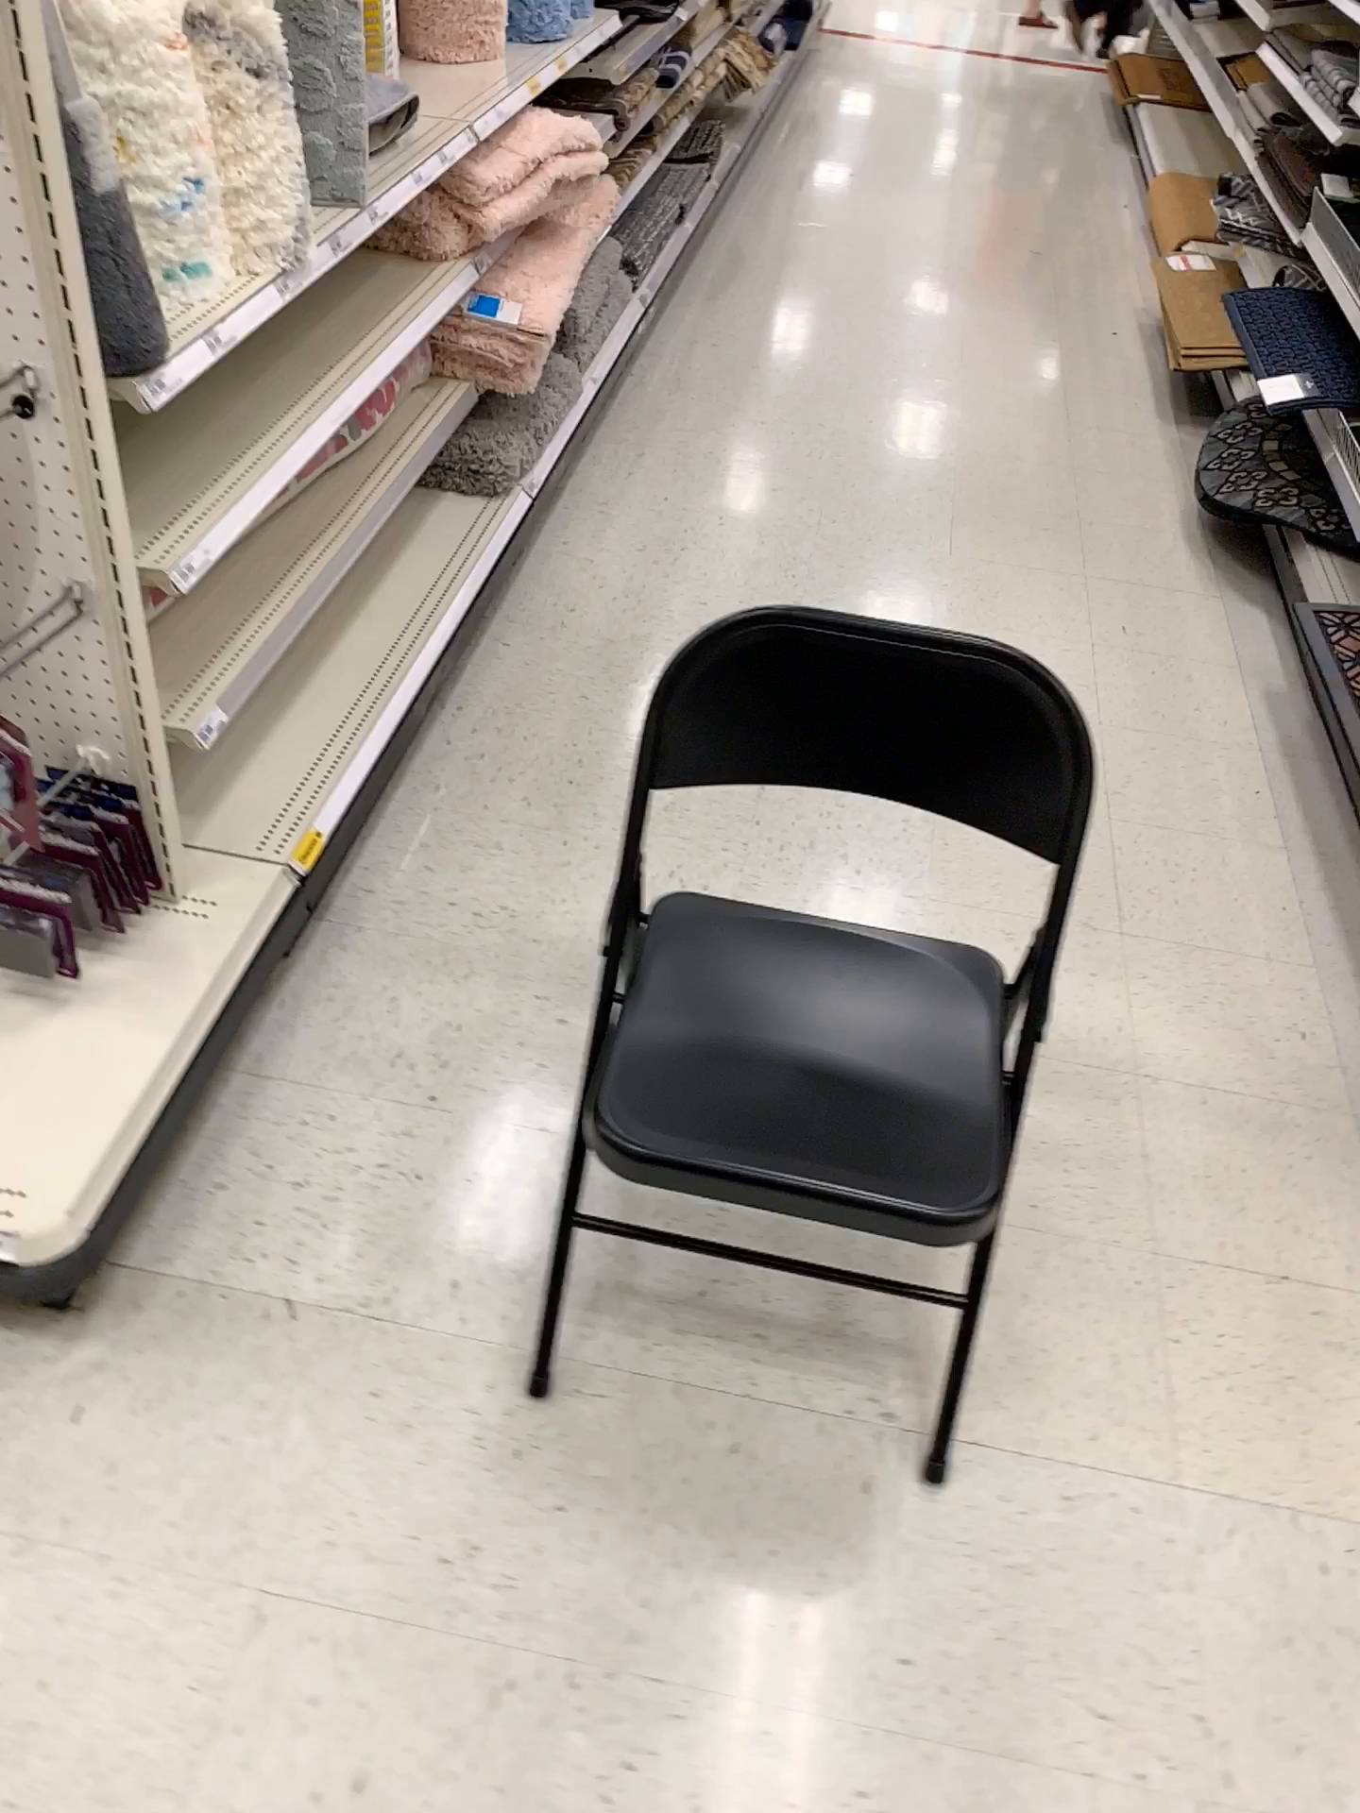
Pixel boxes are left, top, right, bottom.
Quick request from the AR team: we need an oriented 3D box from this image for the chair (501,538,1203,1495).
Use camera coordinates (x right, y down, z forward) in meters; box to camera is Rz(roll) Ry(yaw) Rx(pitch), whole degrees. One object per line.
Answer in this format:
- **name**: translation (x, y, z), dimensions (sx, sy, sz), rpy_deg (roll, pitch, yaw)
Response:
- **chair**: translation (0.132, 0.116, 1.410), dimensions (0.490, 0.716, 0.553), rpy_deg (10, 41, 4)
